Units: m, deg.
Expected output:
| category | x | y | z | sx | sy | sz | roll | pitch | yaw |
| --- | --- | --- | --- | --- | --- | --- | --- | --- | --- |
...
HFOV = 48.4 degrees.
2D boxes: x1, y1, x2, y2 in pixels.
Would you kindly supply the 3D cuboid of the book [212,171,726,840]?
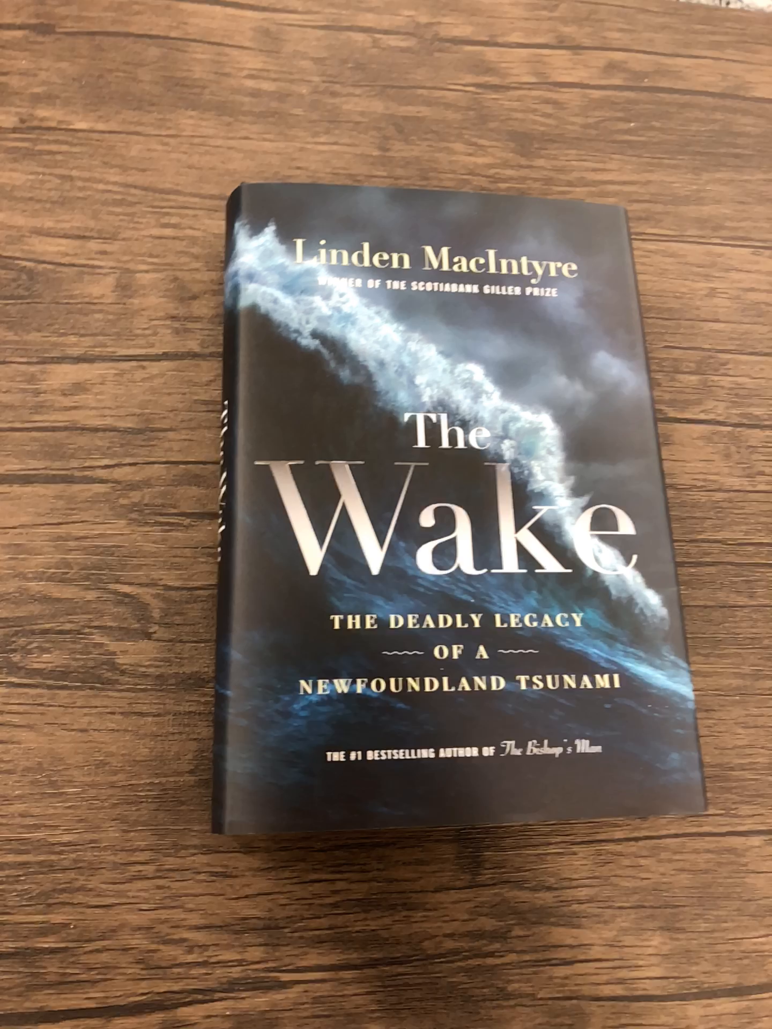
| category | x | y | z | sx | sy | sz | roll | pitch | yaw |
| --- | --- | --- | --- | --- | --- | --- | --- | --- | --- |
| book | 0.023 | -0.007 | 0.317 | 0.160 | 0.050 | 0.230 | 1 | 73 | -8 |
